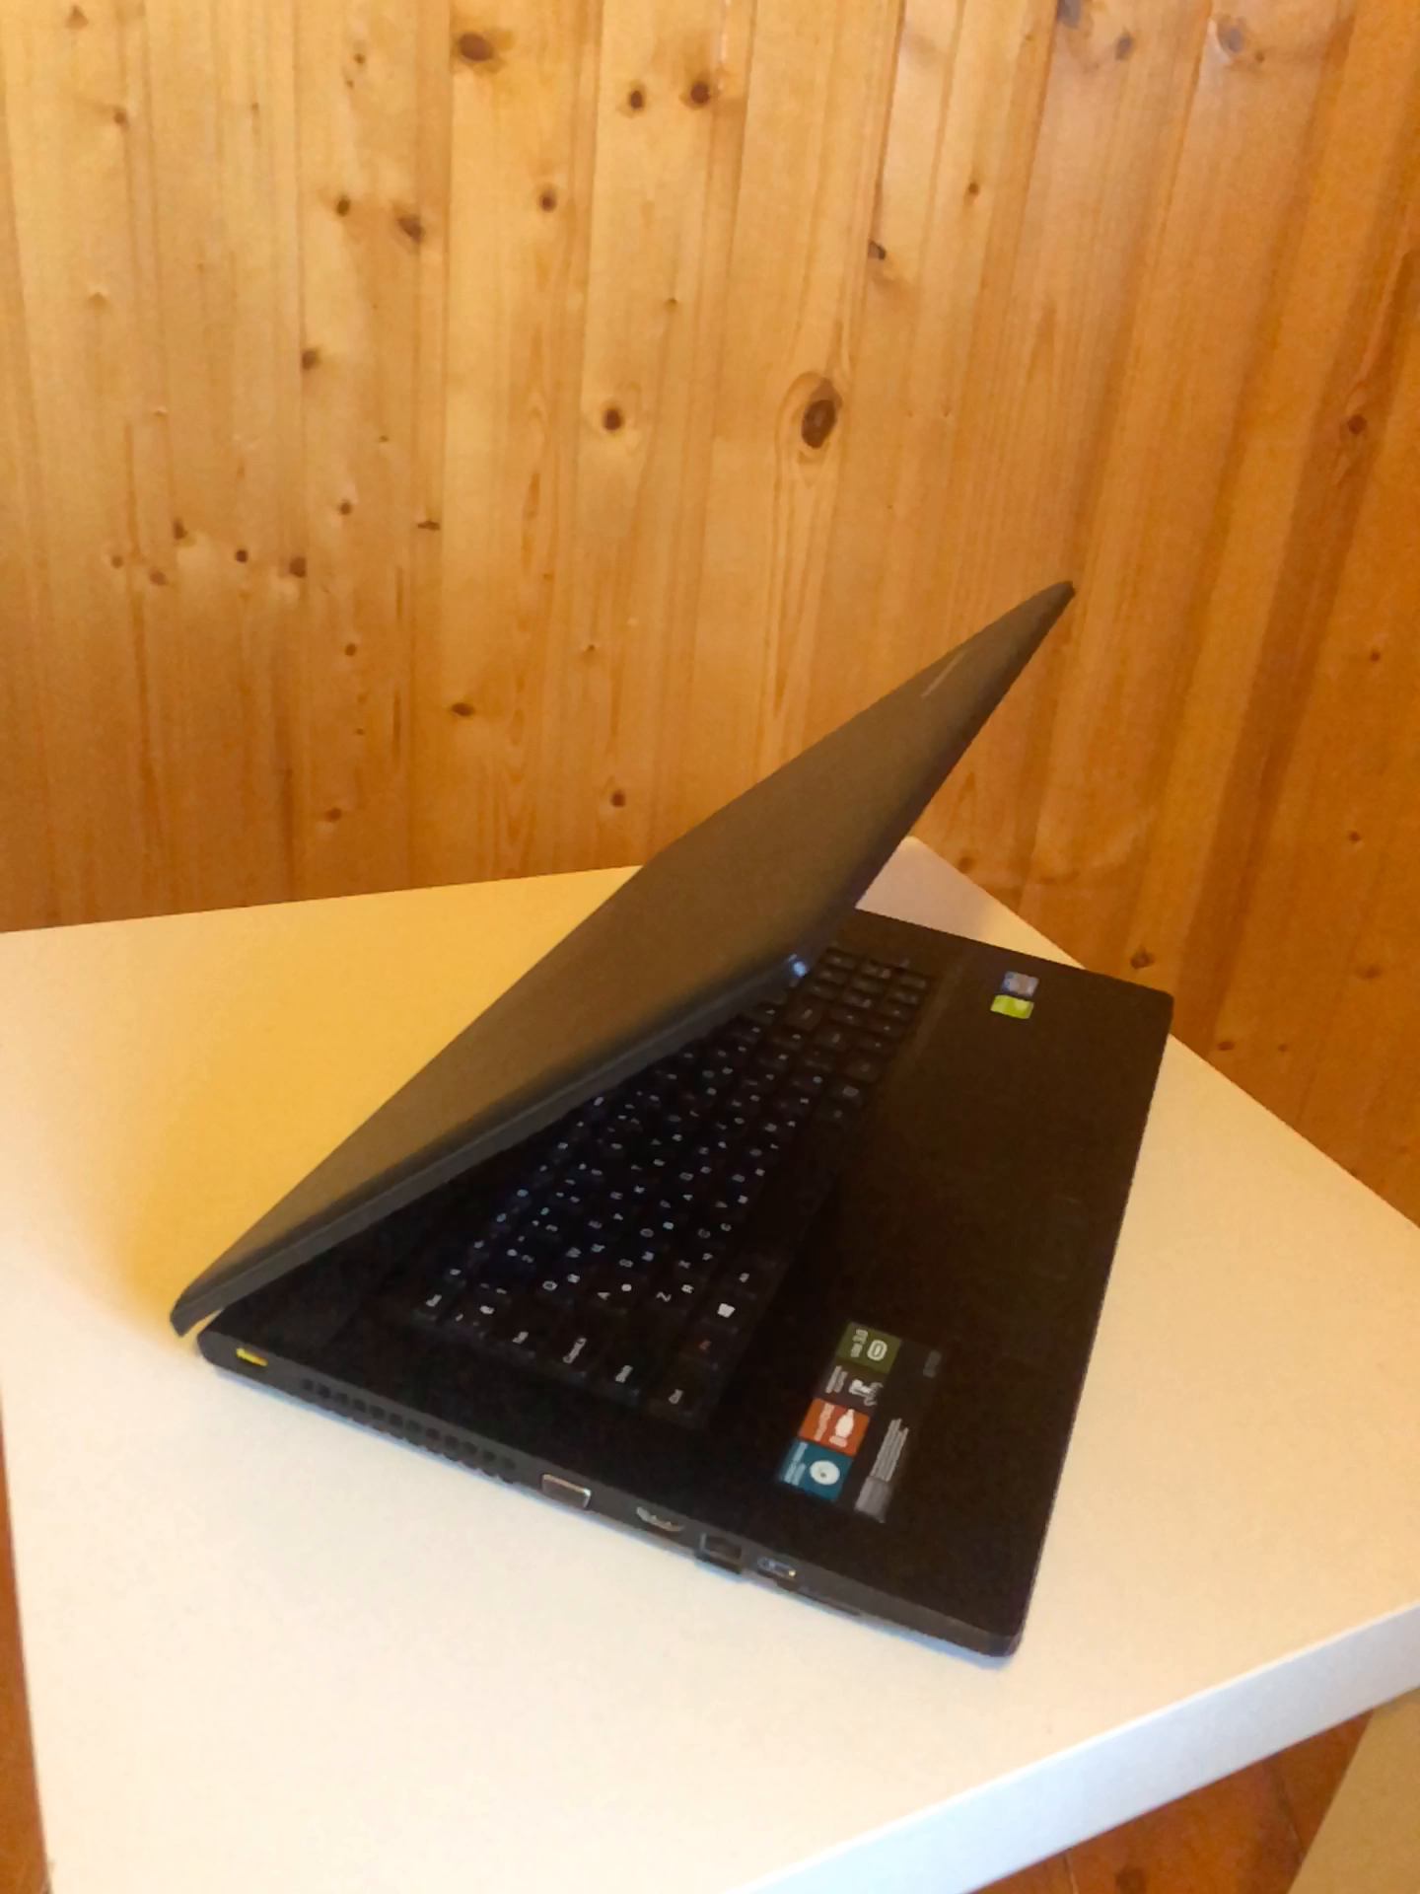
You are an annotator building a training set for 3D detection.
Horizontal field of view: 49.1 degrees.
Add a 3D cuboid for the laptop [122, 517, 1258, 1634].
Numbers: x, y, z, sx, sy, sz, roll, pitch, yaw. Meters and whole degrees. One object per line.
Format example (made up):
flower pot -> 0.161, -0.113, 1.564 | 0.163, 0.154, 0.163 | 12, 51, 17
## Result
laptop -> 0.034, -0.012, 0.596 | 0.271, 0.184, 0.412 | 15, 29, 16
